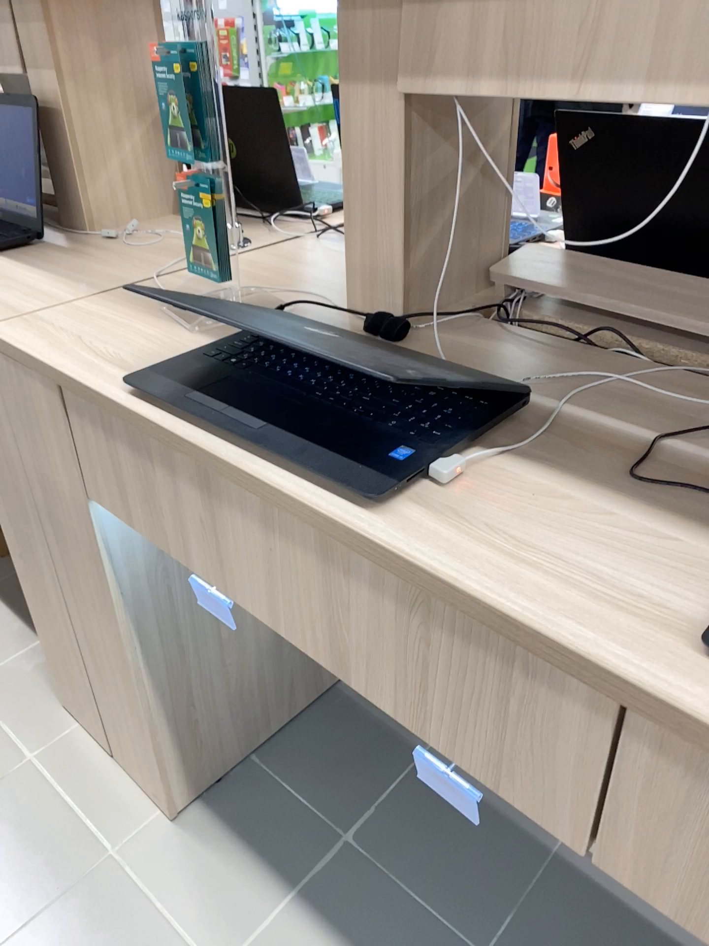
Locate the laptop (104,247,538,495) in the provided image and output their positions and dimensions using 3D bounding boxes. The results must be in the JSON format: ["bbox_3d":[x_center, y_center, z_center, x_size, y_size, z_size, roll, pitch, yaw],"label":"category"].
[{"bbox_3d":[-0.042,-0.135,0.758,0.374,0.093,0.251,24,40,36],"label":"laptop"}]
